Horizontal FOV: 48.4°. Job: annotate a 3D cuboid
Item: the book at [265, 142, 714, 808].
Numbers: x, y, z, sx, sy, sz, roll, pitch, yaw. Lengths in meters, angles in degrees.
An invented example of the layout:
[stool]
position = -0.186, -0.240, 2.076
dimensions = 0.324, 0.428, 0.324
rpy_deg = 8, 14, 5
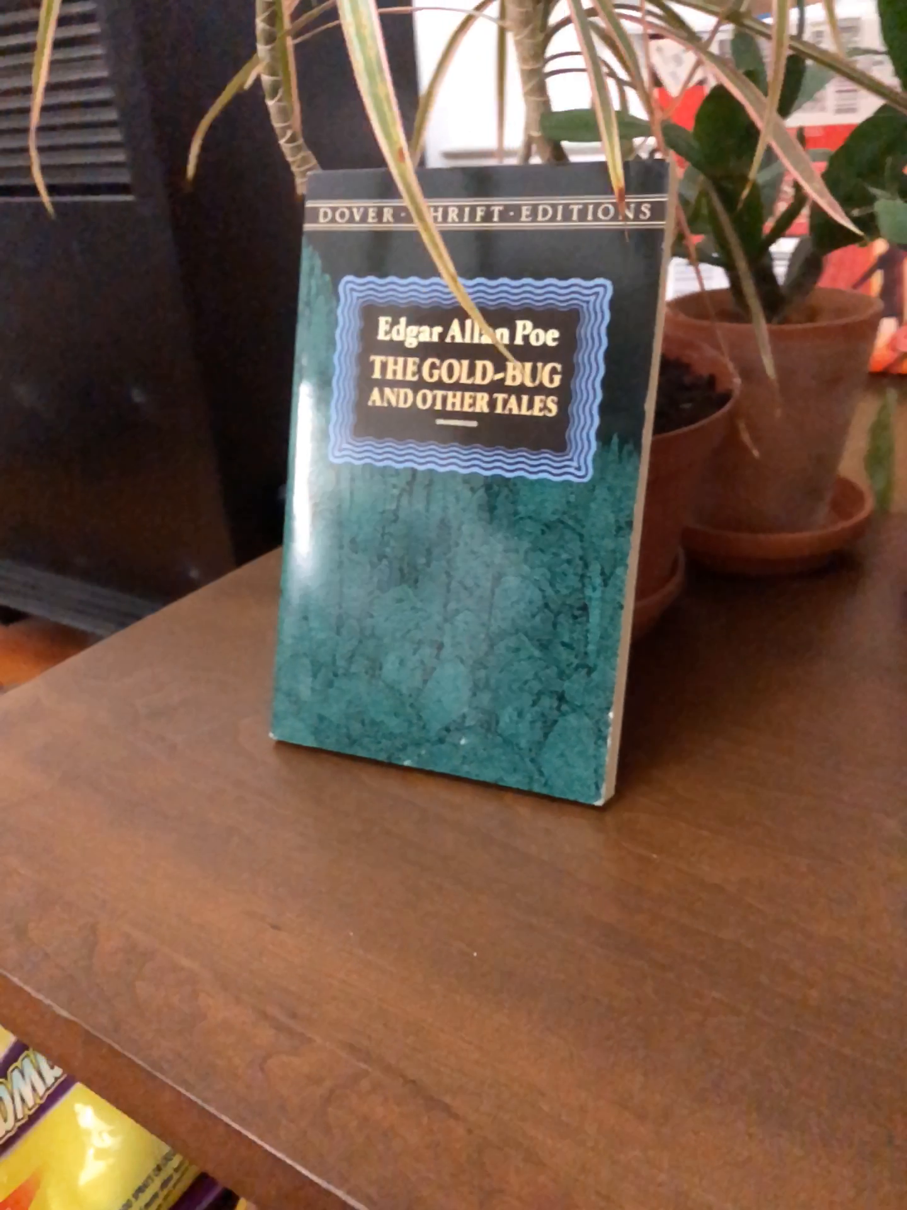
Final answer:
[book]
position = 0.007, -0.047, 0.355
dimensions = 0.140, 0.210, 0.020
rpy_deg = 7, 5, 22
